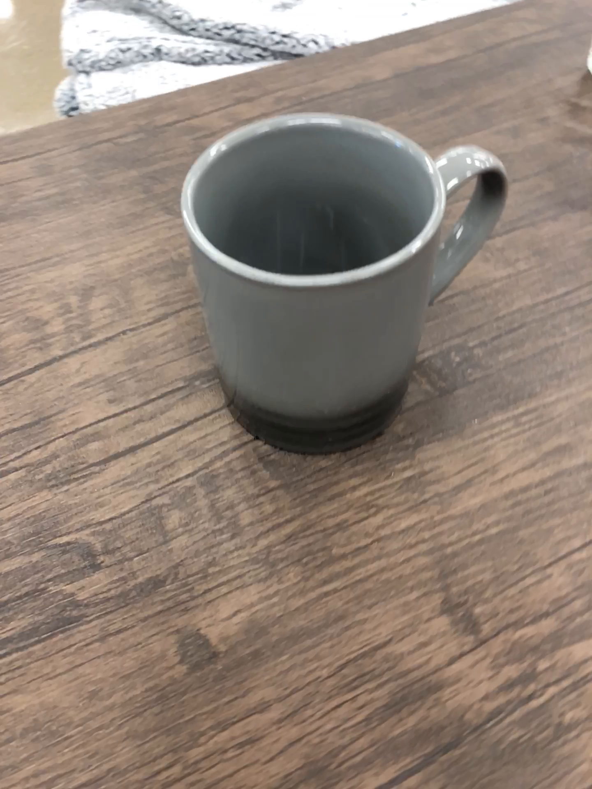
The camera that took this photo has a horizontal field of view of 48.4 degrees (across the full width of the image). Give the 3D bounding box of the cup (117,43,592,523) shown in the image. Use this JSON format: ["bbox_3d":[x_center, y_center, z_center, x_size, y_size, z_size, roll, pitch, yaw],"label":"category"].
[{"bbox_3d":[0.023,-0.044,0.255,0.130,0.110,0.090,-30,57,-20],"label":"cup"}]
